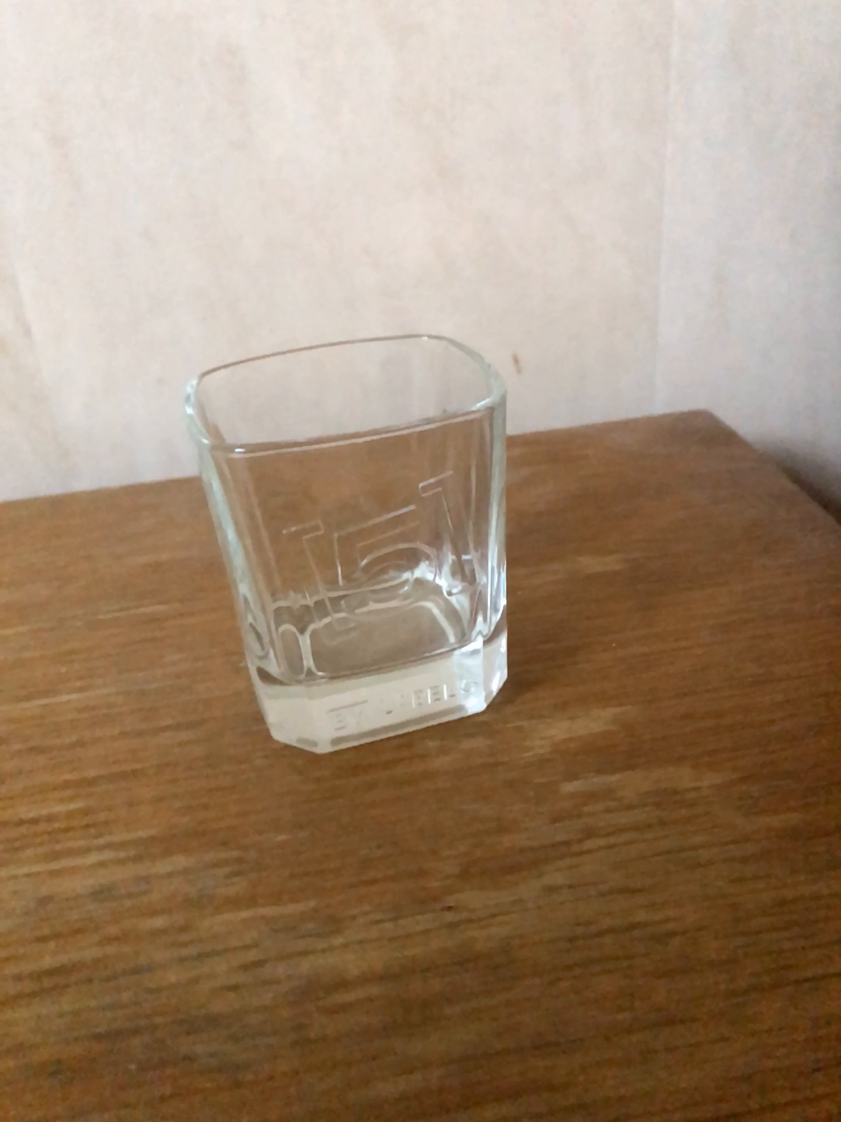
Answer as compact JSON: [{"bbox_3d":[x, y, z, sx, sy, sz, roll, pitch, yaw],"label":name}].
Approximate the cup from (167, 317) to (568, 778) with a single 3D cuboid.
[{"bbox_3d":[-0.014,-0.008,0.214,0.070,0.070,0.070,-3,28,2],"label":"cup"}]
